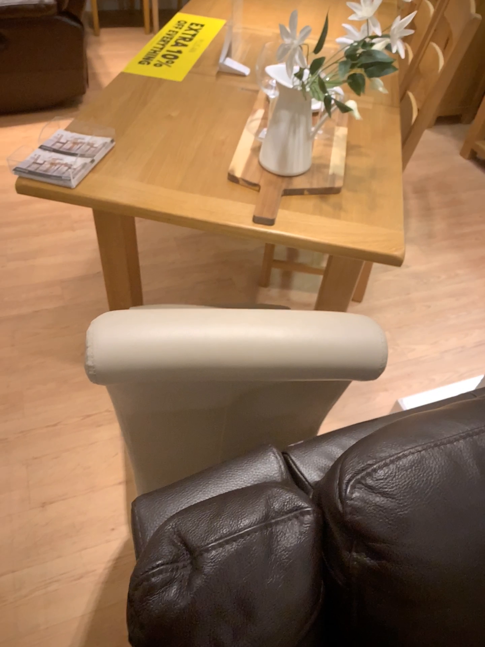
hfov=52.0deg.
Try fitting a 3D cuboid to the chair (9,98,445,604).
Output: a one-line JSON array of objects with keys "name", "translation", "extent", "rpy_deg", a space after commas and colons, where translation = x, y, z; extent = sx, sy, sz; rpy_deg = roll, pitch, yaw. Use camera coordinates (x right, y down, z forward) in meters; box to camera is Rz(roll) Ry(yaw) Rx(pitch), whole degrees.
[{"name": "chair", "translation": [-0.064, 0.126, 1.102], "extent": [0.476, 0.944, 0.639], "rpy_deg": [0, 47, -6]}]
